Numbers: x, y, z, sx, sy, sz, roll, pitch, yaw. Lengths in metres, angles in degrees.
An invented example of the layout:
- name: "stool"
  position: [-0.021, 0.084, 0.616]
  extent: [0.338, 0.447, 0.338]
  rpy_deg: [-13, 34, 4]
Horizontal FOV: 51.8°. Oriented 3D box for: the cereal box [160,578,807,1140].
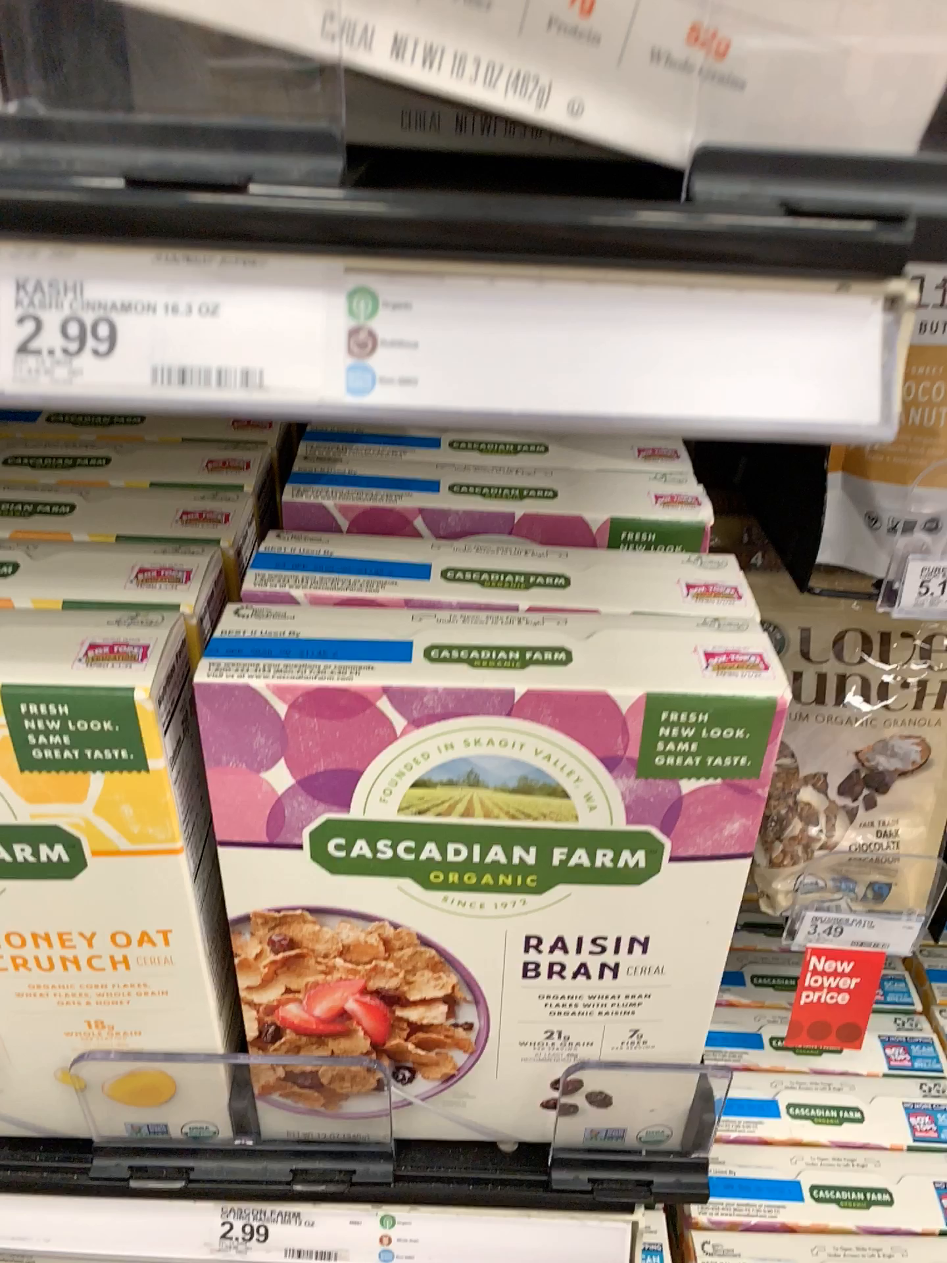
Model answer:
- name: "cereal box"
  position: [-0.001, 0.109, 0.398]
  extent: [0.200, 0.269, 0.050]
  rpy_deg: [2, 35, -1]
